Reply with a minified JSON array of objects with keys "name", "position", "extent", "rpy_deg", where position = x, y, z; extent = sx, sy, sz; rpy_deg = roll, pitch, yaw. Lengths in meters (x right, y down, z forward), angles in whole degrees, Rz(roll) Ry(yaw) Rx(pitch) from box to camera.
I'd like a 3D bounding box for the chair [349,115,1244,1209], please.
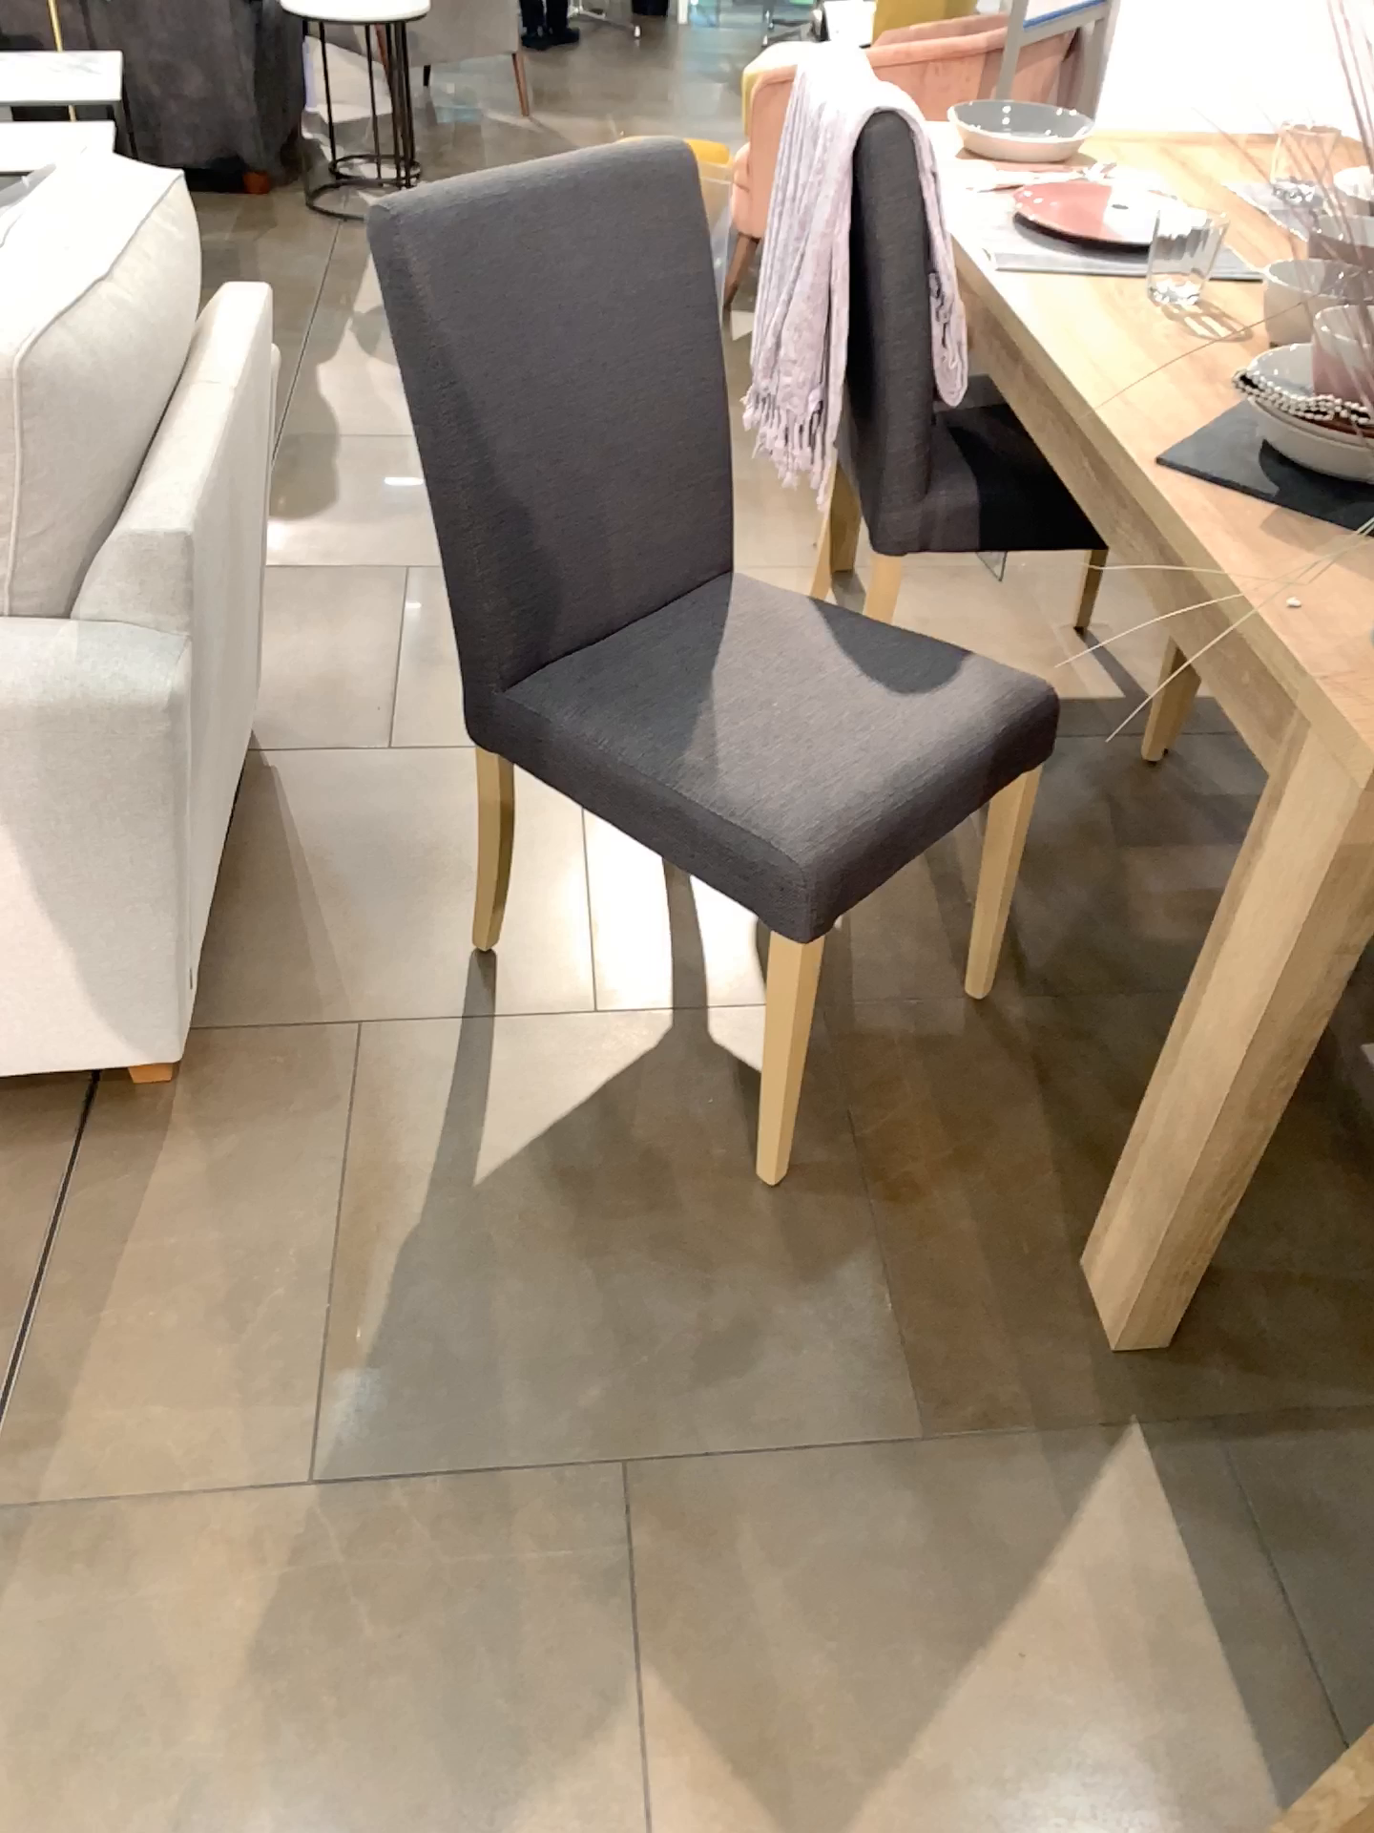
[{"name":"chair","position":[0.071,-0.282,1.532],"extent":[0.617,0.889,0.509],"rpy_deg":[34,49,30]}]
